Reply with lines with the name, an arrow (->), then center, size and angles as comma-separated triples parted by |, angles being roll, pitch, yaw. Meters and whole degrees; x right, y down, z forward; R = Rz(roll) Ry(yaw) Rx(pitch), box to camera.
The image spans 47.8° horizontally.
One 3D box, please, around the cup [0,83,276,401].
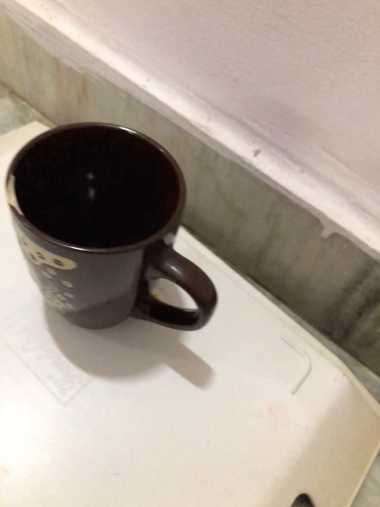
cup -> -0.039, -0.003, 0.222 | 0.120, 0.099, 0.070 | 31, 53, 10
